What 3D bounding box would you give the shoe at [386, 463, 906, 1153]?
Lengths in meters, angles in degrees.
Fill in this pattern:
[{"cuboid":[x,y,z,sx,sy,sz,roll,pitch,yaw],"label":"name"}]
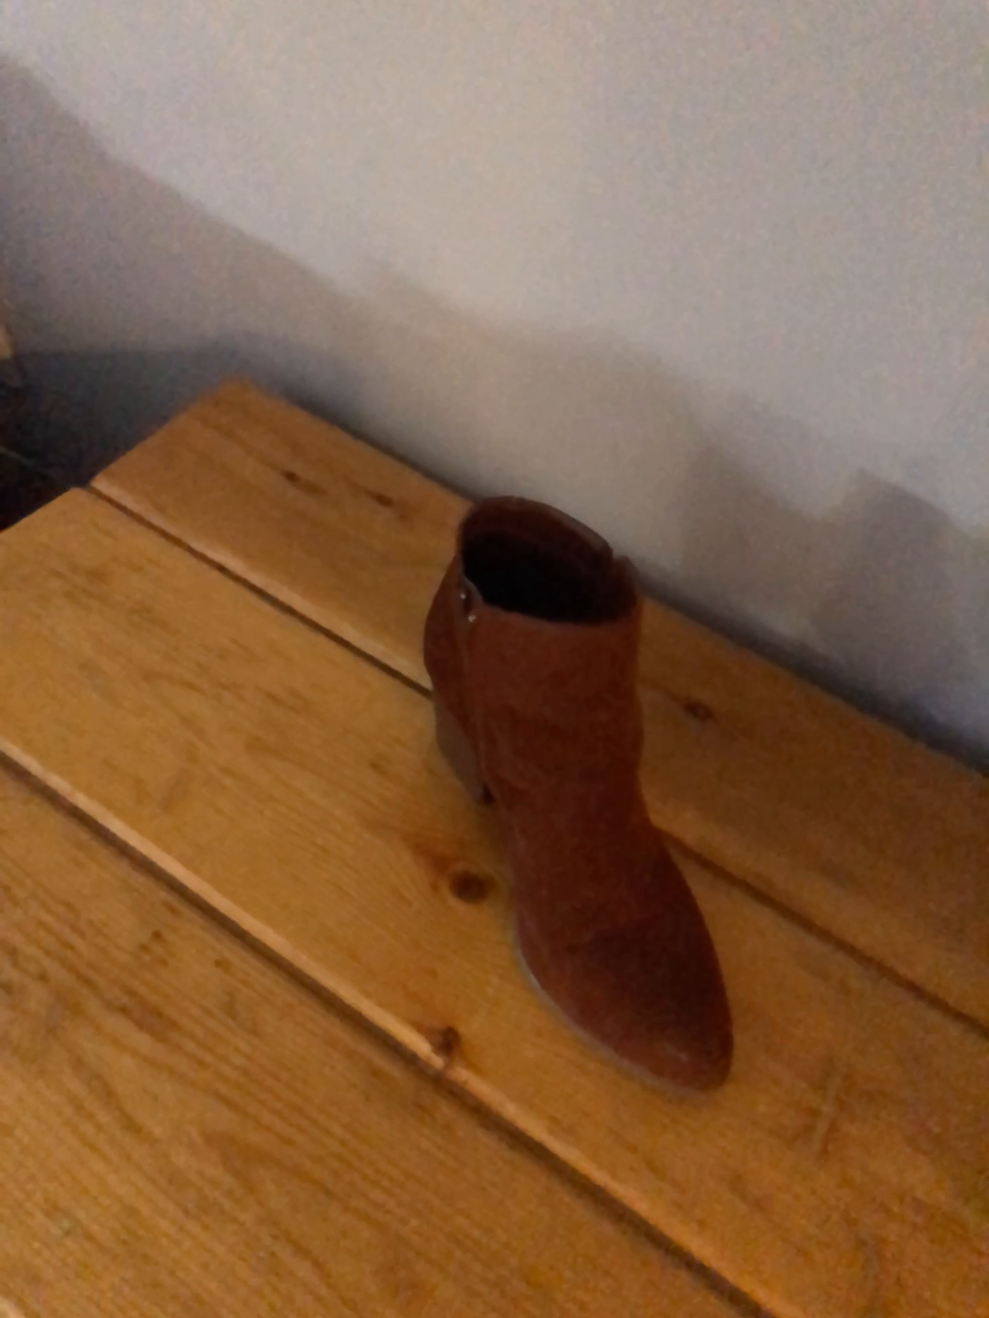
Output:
[{"cuboid":[0.041,0.058,0.485,0.090,0.150,0.250,-17,54,-20],"label":"shoe"}]
